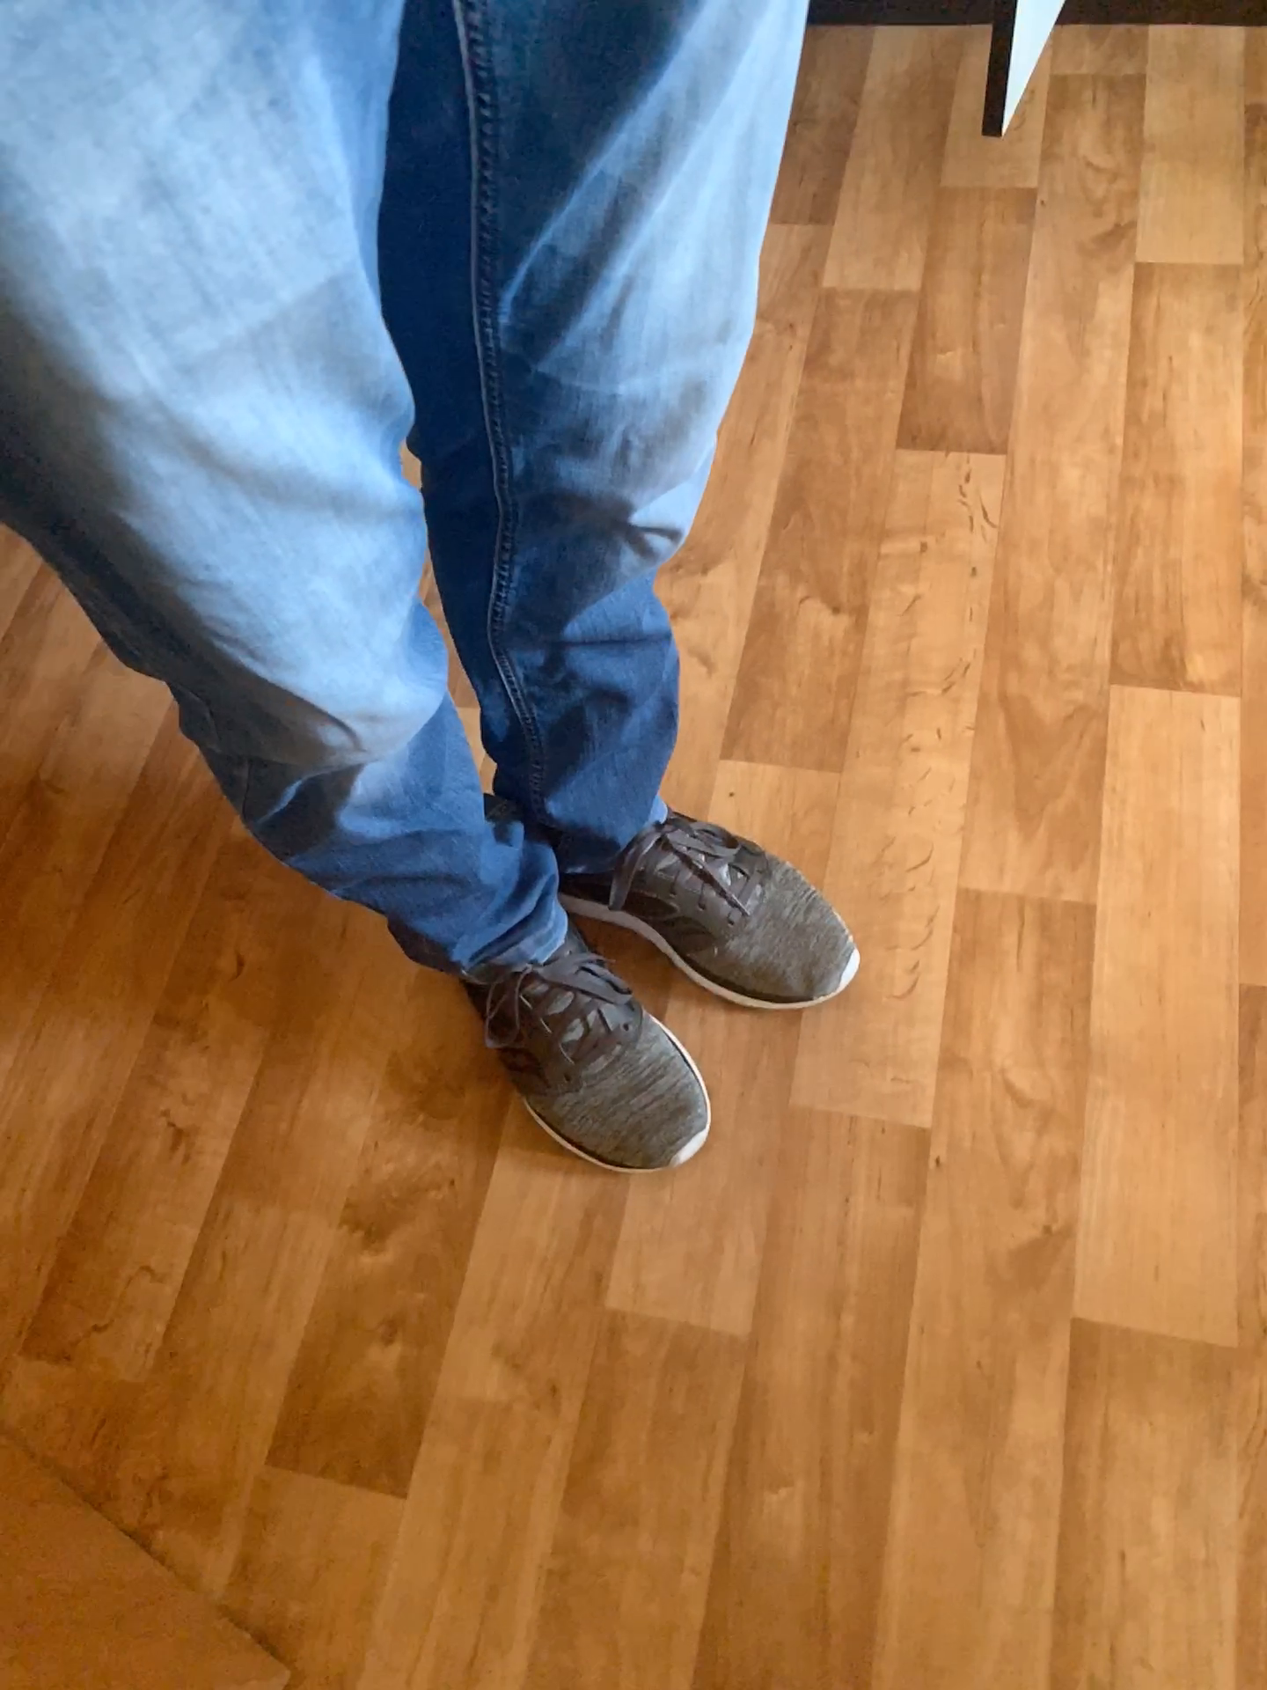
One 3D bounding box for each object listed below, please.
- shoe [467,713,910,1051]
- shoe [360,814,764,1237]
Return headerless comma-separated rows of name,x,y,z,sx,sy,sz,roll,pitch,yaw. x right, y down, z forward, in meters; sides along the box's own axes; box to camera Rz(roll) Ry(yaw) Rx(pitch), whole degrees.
shoe,0.042,0.024,0.976,0.290,0.100,0.134,20,66,18
shoe,-0.052,0.125,0.932,0.124,0.100,0.281,-41,64,-15
